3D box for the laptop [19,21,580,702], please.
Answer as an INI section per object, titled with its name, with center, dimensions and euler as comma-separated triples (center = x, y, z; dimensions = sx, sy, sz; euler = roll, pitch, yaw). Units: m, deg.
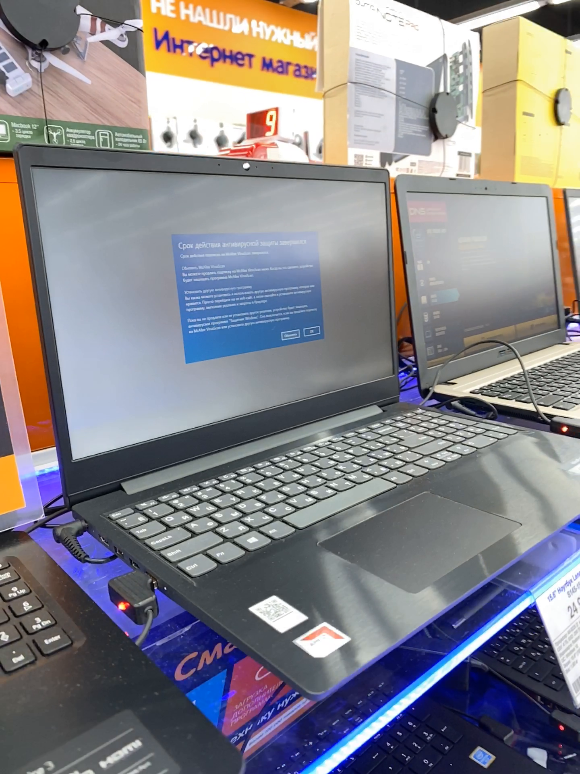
[laptop]
center = 0.054, -0.049, 0.421
dimensions = 0.361, 0.240, 0.273
euler = -13, 17, -39
